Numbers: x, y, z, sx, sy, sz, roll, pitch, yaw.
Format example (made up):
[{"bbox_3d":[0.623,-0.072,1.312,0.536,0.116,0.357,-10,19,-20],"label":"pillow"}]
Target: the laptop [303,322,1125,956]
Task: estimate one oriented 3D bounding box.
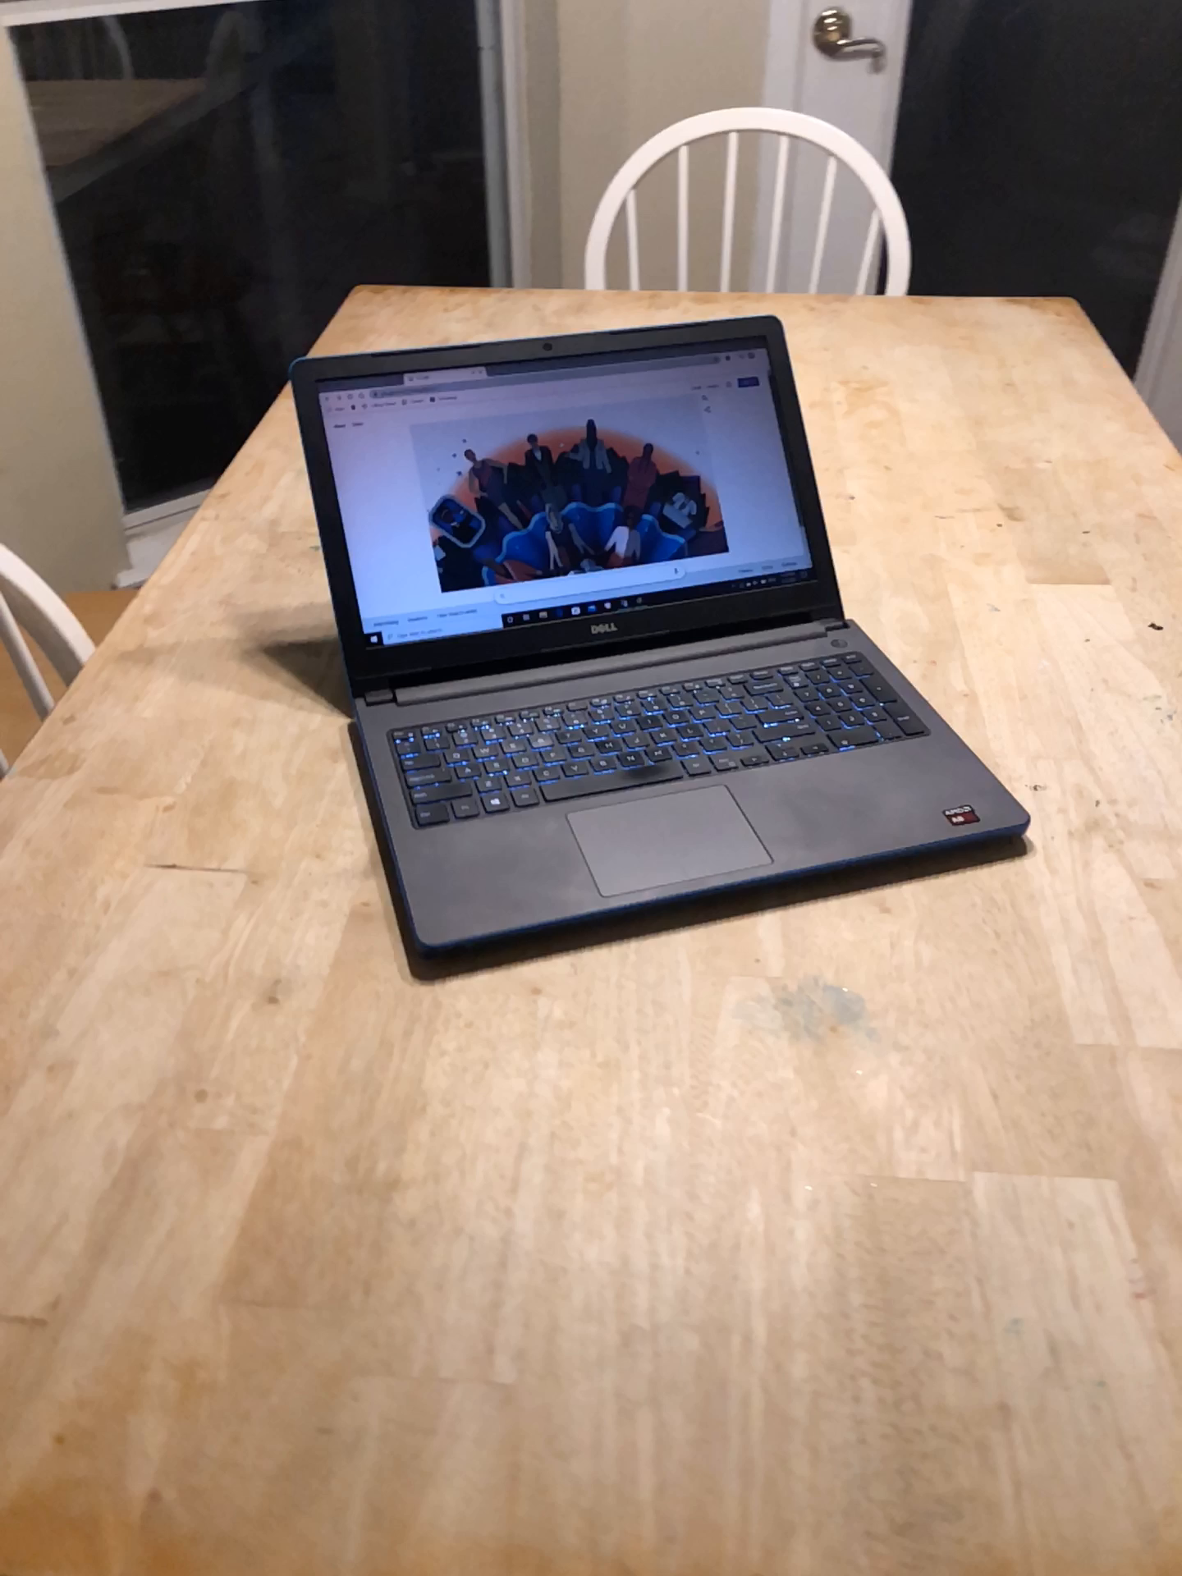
[{"bbox_3d":[0.037,-0.133,0.837,0.367,0.174,0.421,-11,38,-13],"label":"laptop"}]
